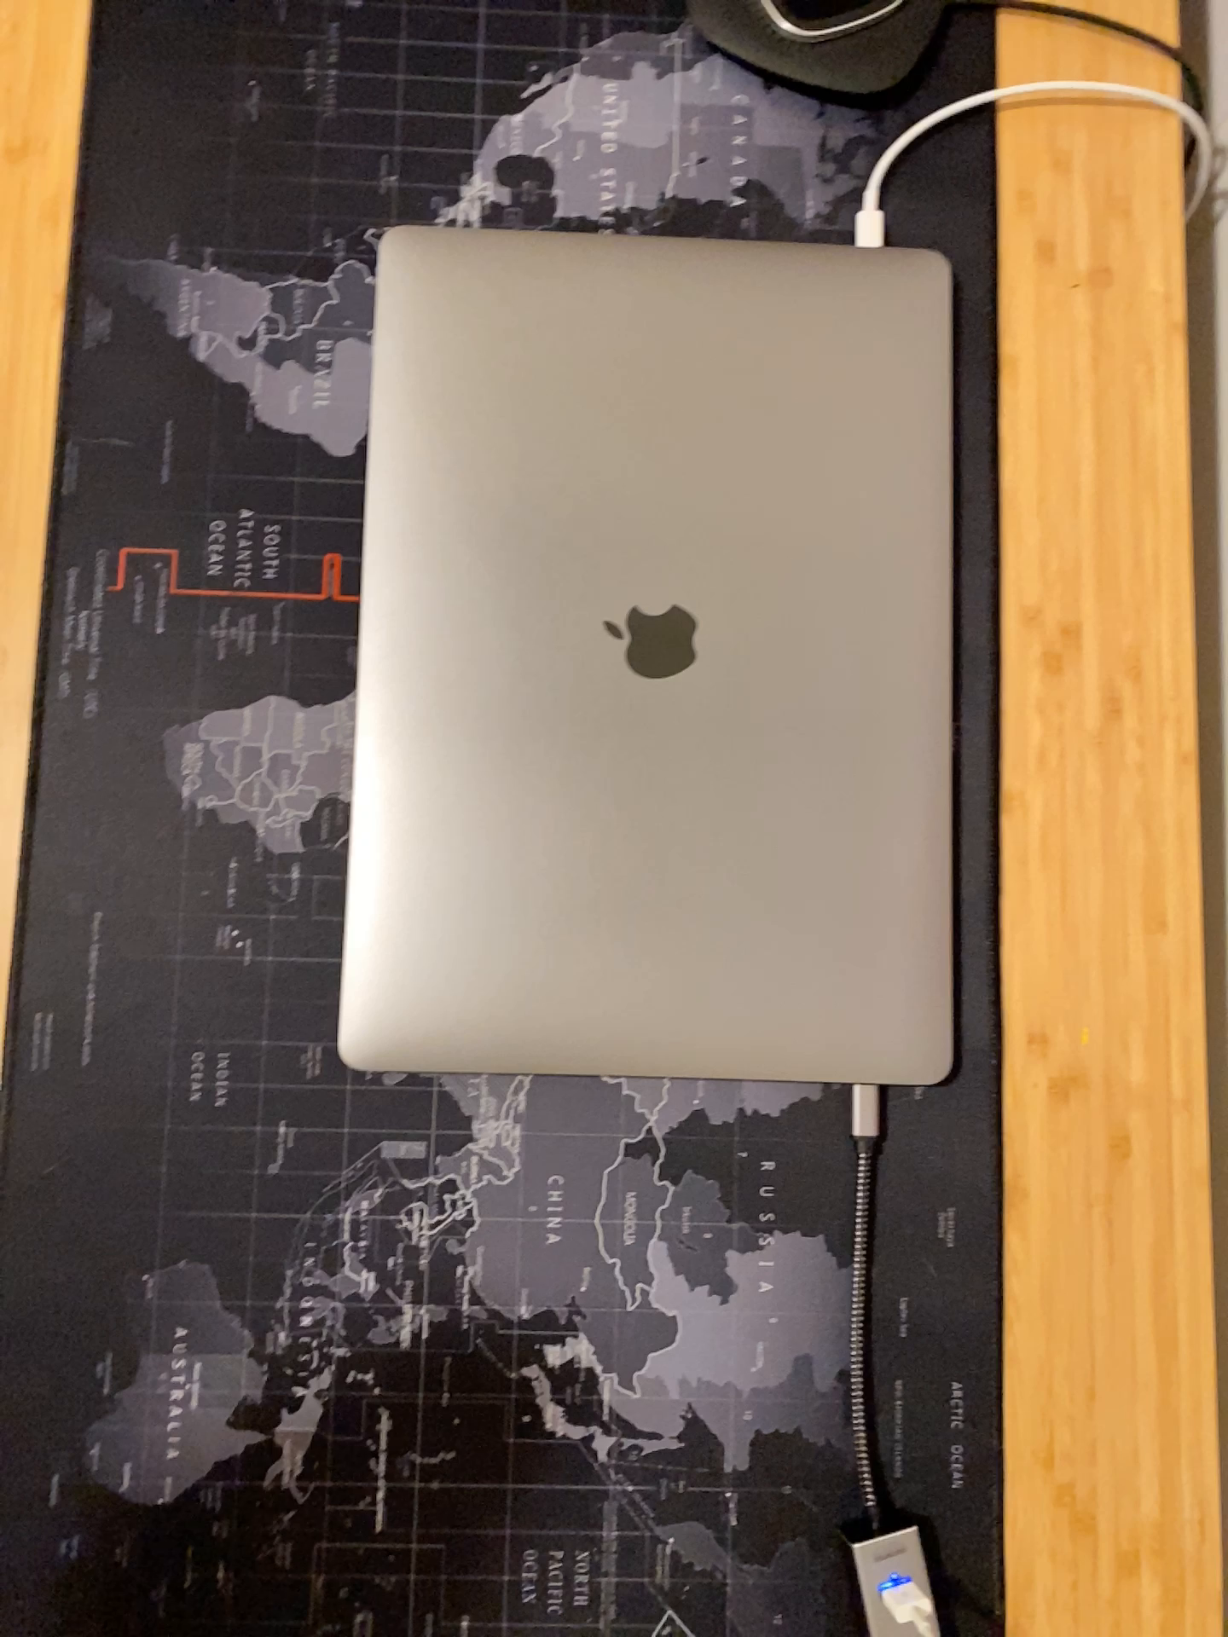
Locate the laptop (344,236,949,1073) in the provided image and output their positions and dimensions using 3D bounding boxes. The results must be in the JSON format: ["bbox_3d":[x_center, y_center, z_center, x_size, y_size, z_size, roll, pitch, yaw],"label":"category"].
[{"bbox_3d":[0.019,-0.072,0.497,0.226,0.002,0.336,2,82,-1],"label":"laptop"}]
